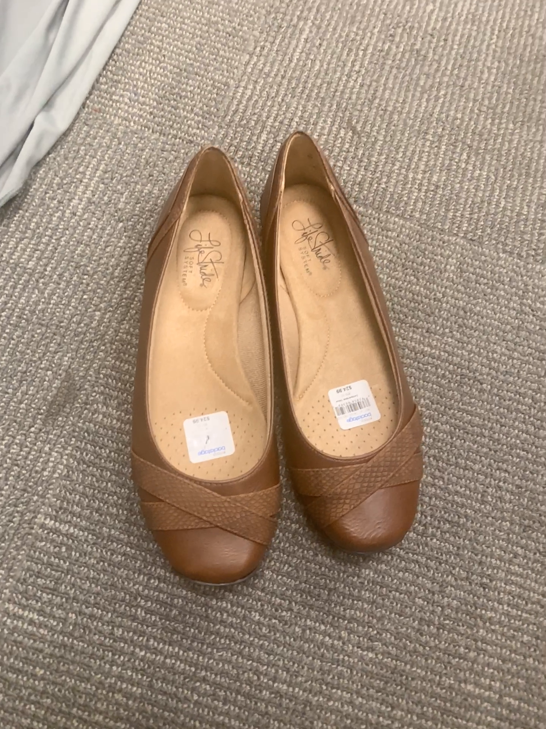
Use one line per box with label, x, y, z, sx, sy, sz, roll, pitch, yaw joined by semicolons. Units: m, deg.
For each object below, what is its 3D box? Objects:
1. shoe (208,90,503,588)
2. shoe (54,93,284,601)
shoe;0.033;-0.021;0.342;0.098;0.084;0.271;-10;75;-9
shoe;-0.049;-0.012;0.326;0.099;0.084;0.269;2;74;-5
